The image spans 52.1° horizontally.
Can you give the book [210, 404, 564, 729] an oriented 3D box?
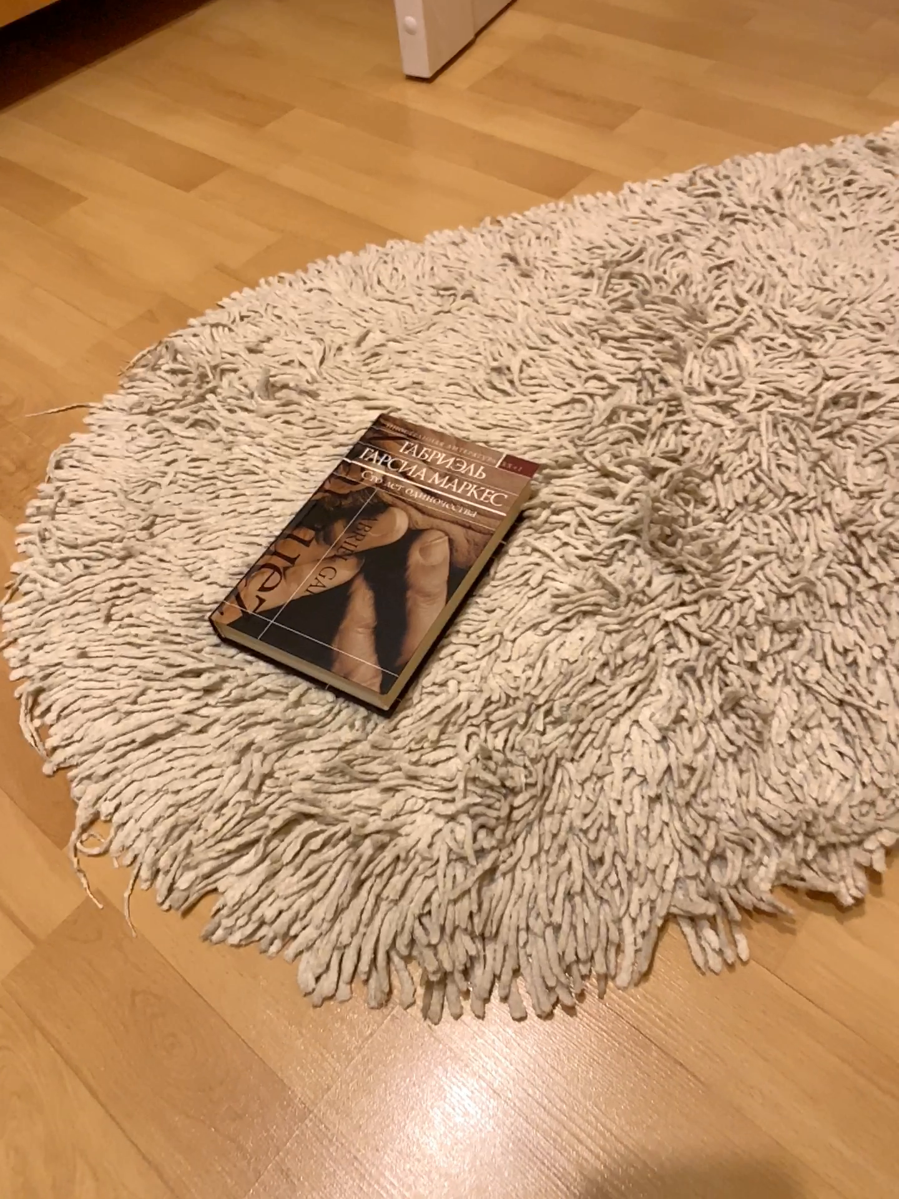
[{"bbox_3d":[-0.034,-0.033,0.605,0.140,0.030,0.211,22,58,21],"label":"book"}]
